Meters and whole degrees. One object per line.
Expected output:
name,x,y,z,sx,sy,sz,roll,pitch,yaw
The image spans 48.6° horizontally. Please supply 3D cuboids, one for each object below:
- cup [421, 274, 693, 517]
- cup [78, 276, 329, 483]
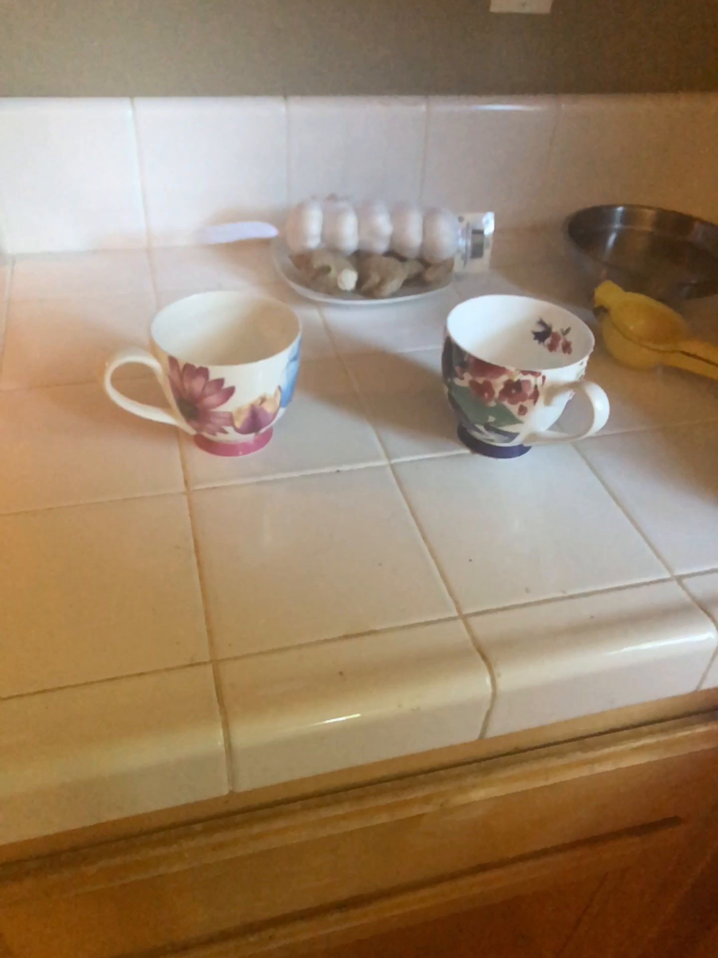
cup,0.136,-0.068,0.585,0.110,0.089,0.151,-16,45,-23
cup,-0.111,-0.076,0.571,0.150,0.079,0.111,-11,43,-18
